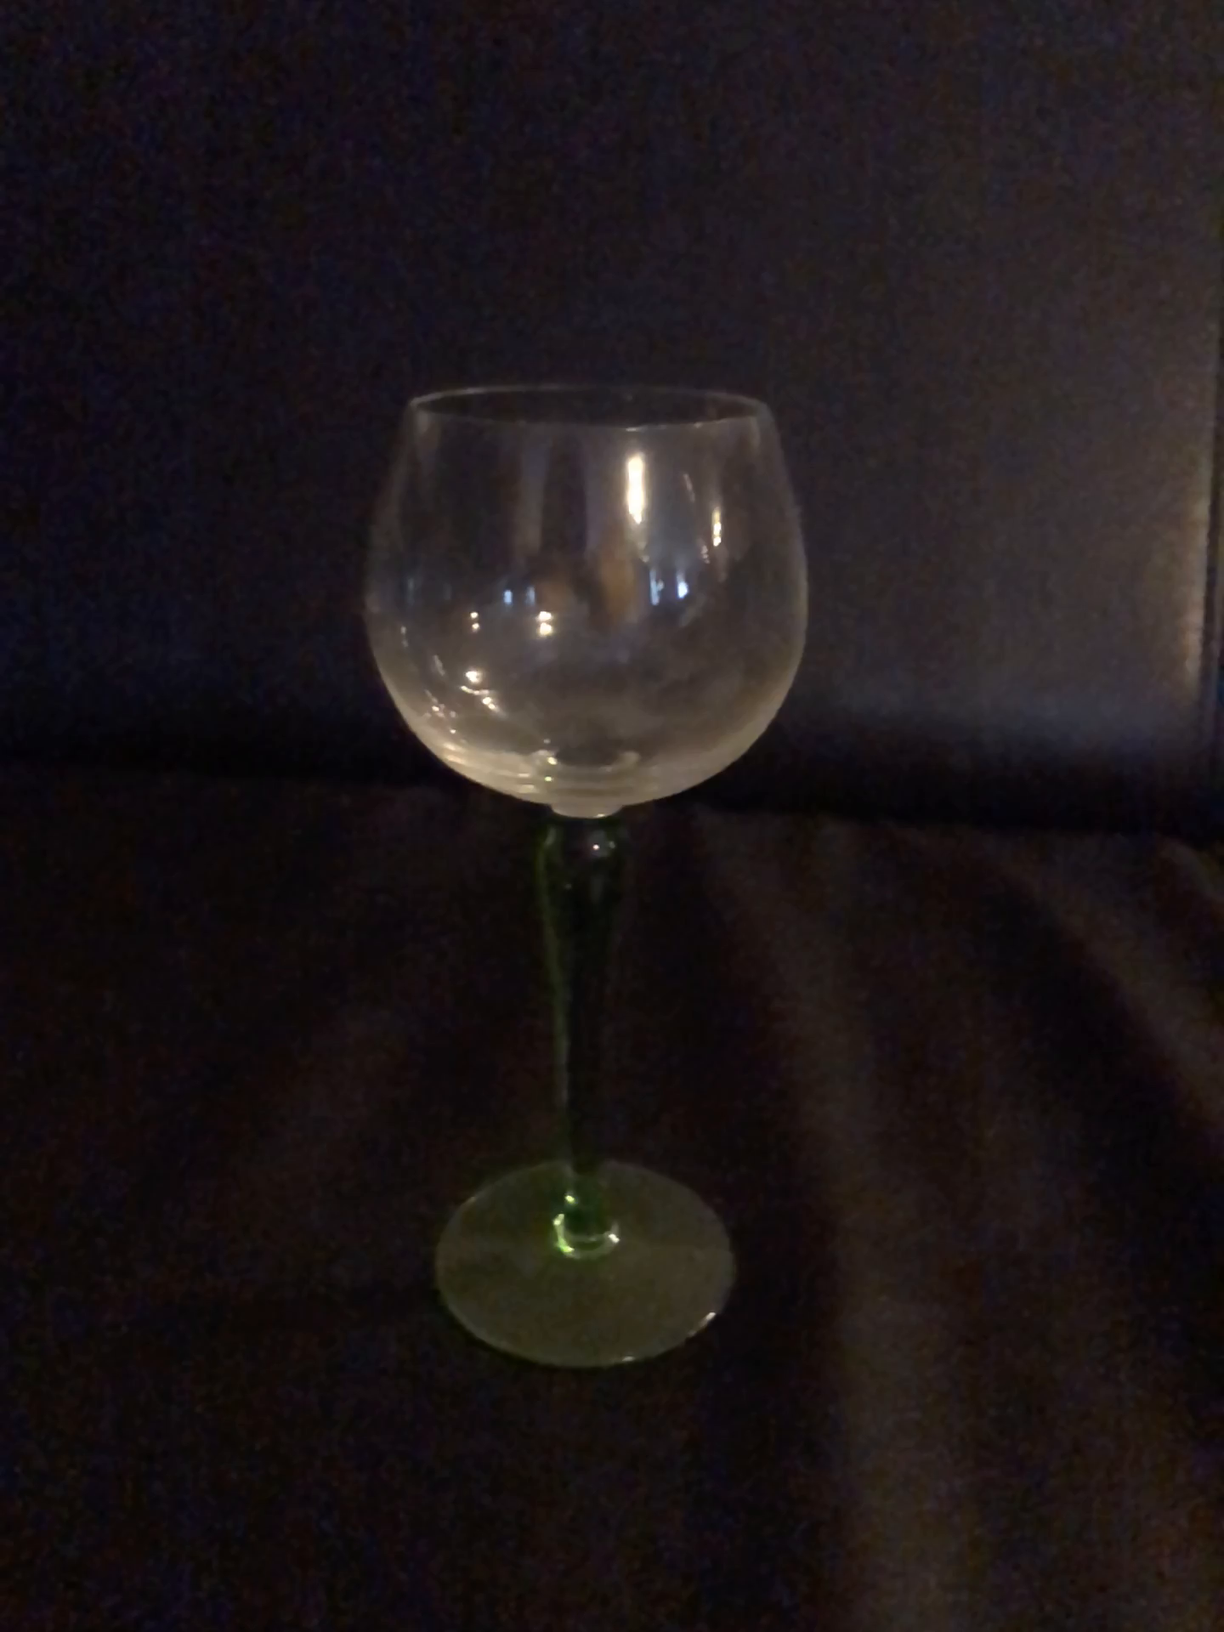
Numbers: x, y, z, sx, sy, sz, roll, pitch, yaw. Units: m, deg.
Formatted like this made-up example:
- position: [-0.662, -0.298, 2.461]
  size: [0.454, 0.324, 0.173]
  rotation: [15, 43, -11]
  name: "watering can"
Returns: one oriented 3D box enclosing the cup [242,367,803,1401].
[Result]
- position: [-0.010, 0.009, 0.275]
  size: [0.080, 0.185, 0.080]
  rotation: [0, 21, 0]
  name: "cup"
